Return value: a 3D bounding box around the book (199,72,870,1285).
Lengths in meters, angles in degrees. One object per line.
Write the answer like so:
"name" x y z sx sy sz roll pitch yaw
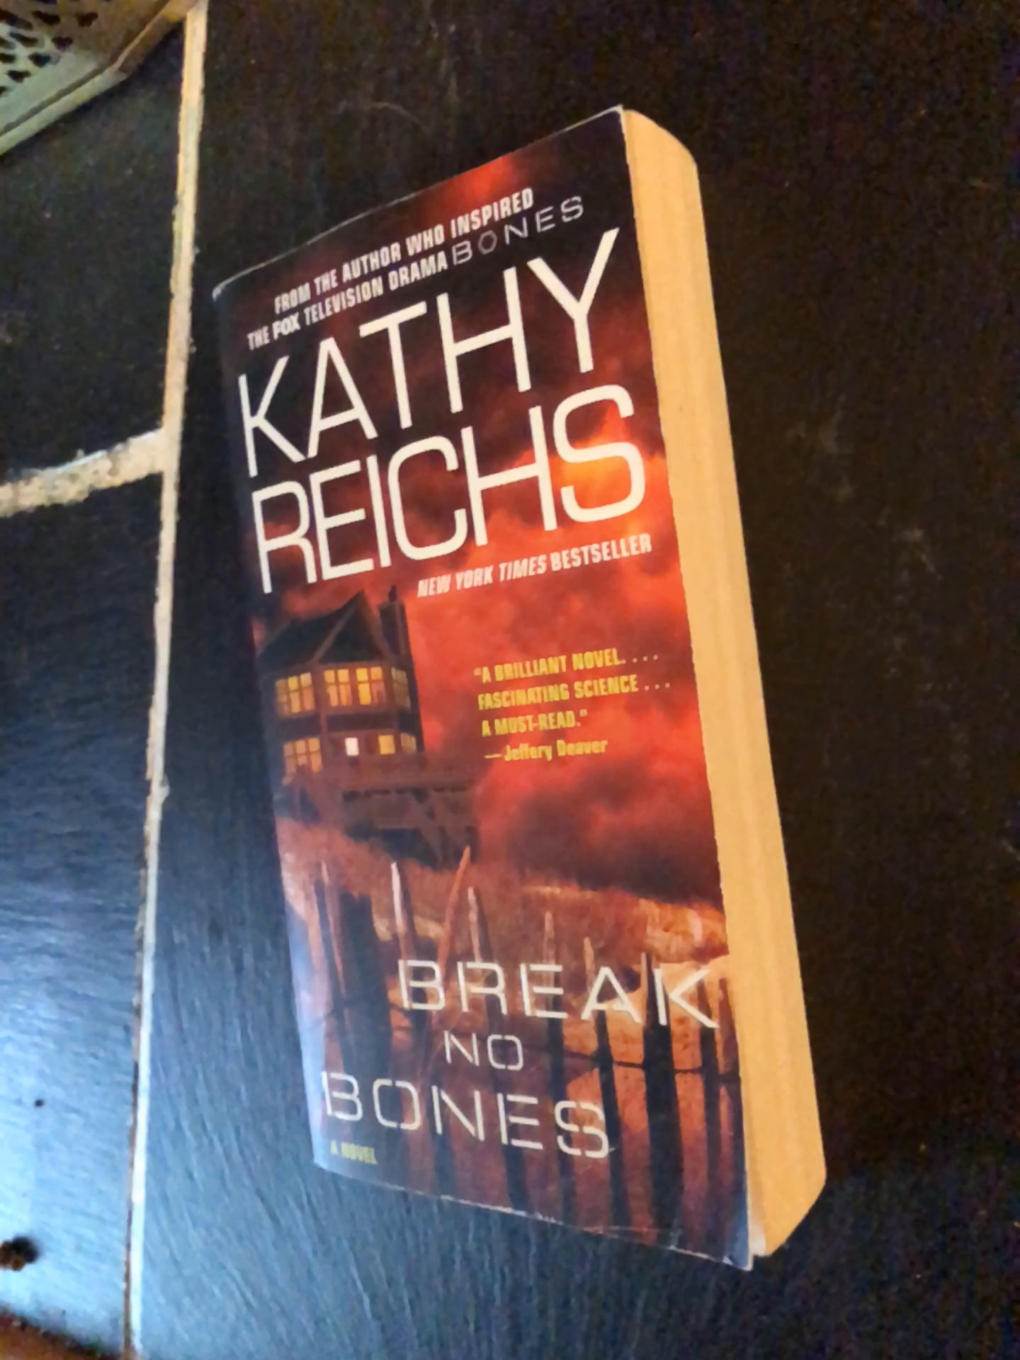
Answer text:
"book" -0.001 0.004 0.220 0.108 0.030 0.189 -7 91 35
